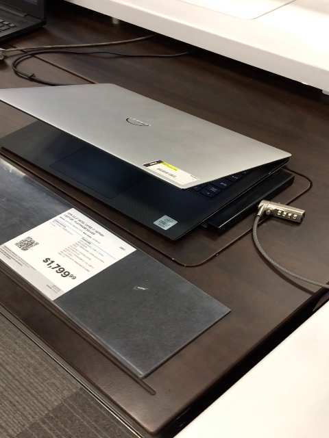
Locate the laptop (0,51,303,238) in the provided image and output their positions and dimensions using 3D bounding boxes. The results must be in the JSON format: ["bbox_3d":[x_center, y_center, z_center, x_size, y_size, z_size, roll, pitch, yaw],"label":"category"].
[{"bbox_3d":[-0.038,-0.110,0.542,0.301,0.074,0.188,32,59,29],"label":"laptop"}]
